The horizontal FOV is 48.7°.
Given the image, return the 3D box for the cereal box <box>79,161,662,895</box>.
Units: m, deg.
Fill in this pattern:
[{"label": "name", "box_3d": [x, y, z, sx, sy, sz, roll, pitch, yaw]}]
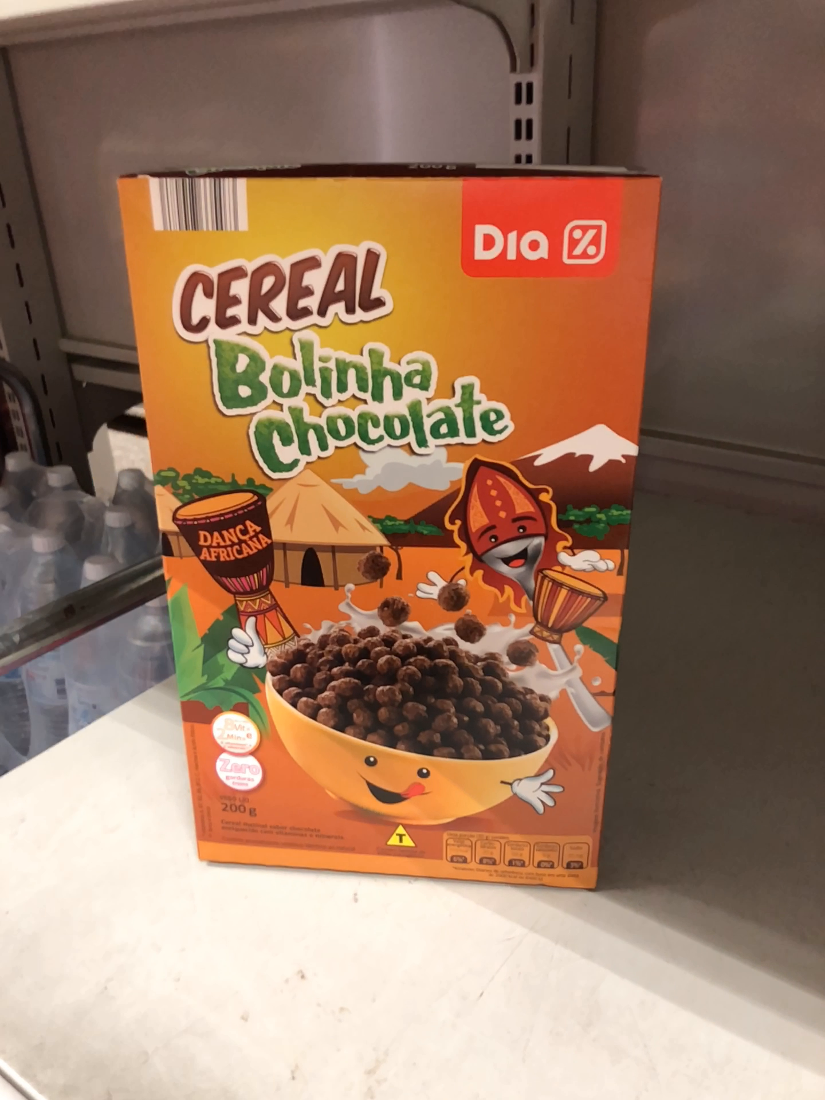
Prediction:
[{"label": "cereal box", "box_3d": [-0.014, -0.003, 0.339, 0.170, 0.258, 0.060, 3, 22, 5]}]
